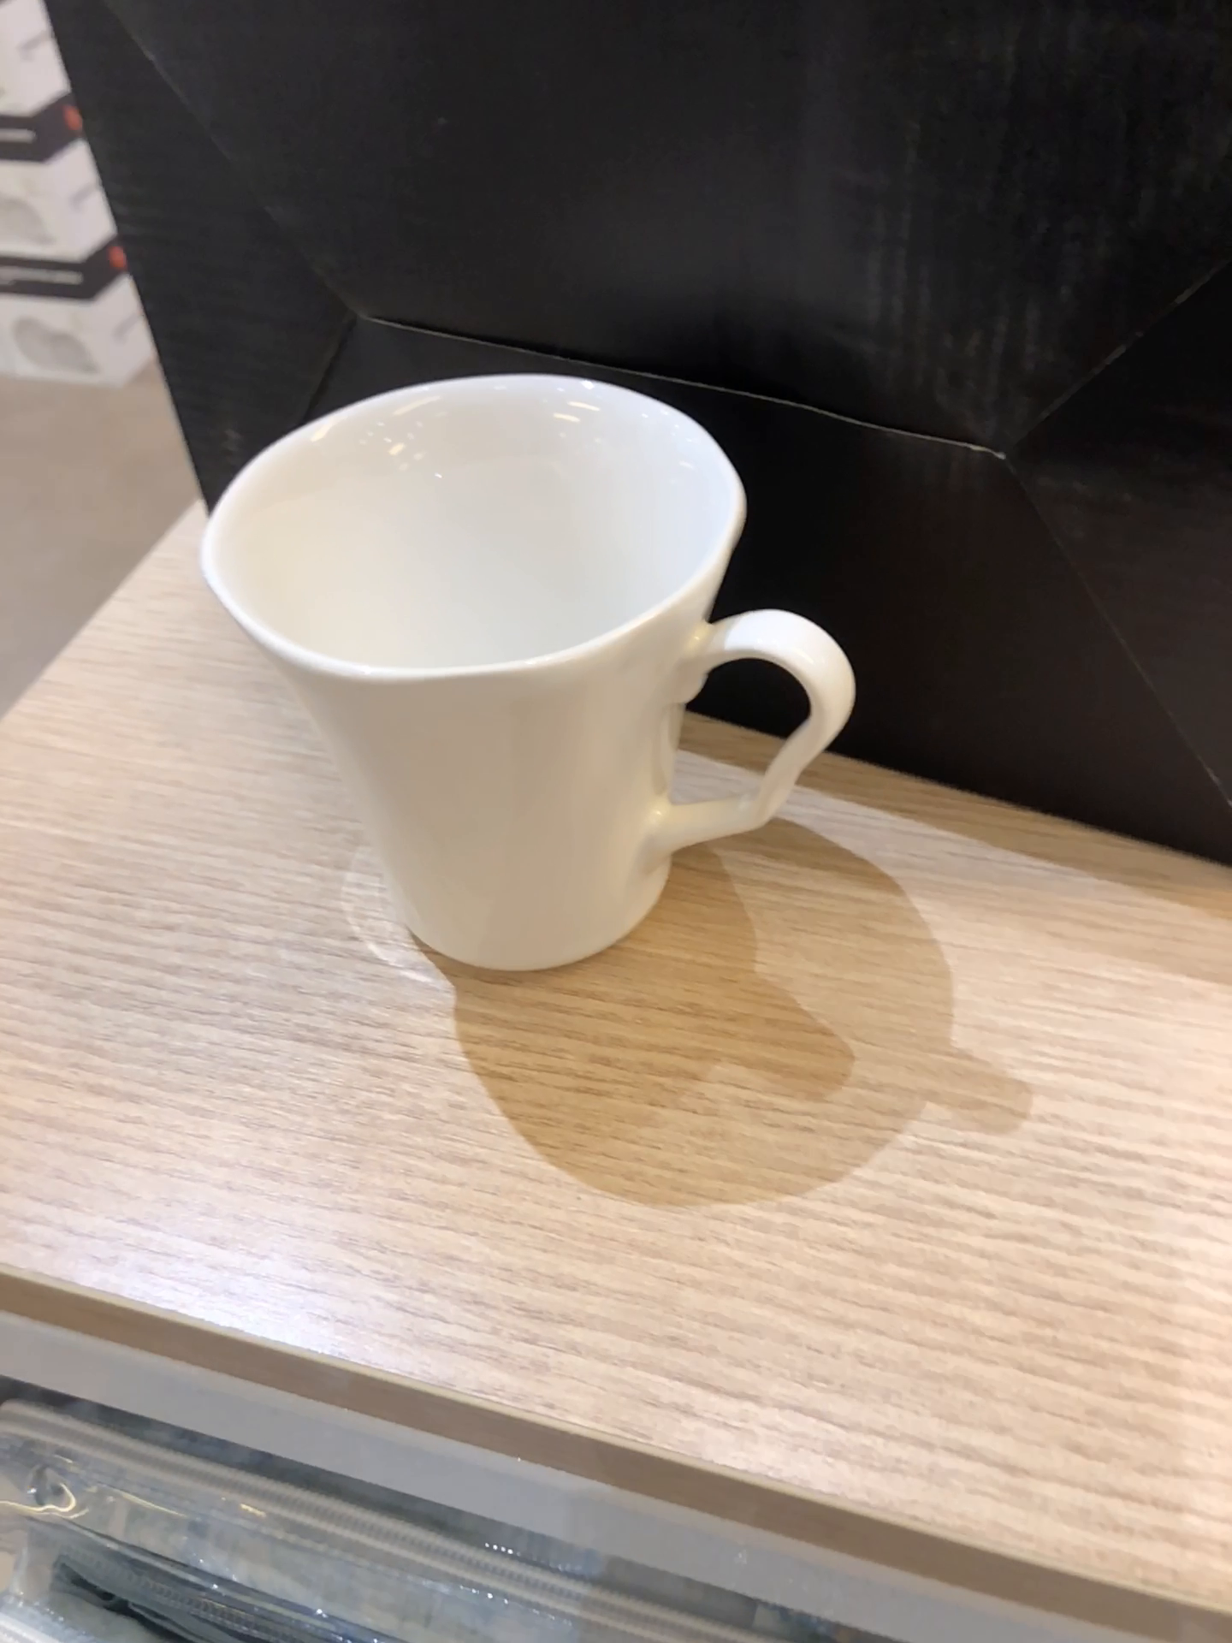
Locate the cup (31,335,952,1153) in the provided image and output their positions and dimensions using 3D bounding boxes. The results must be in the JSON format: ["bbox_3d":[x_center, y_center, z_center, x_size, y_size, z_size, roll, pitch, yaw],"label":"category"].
[{"bbox_3d":[-0.013,-0.018,0.229,0.110,0.079,0.080,16,49,20],"label":"cup"}]
